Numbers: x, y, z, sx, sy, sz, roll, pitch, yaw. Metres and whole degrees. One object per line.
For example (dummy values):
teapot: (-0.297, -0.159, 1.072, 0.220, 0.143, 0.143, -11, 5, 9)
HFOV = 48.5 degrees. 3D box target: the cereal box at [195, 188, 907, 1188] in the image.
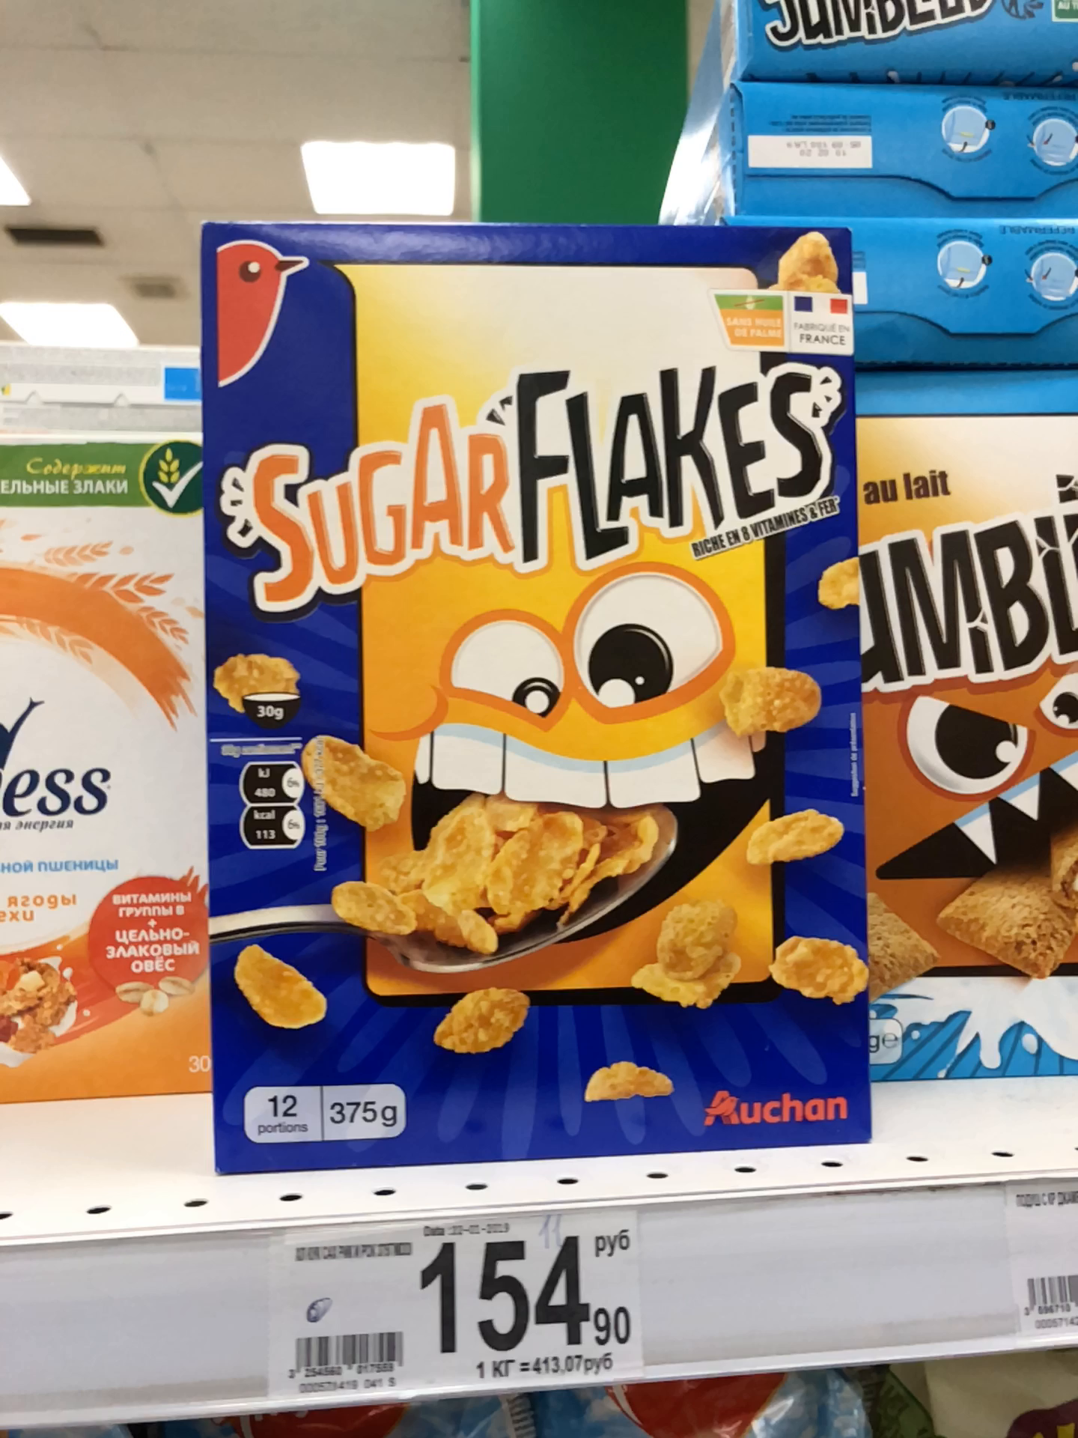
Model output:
cereal box: (0.001, -0.012, 0.378, 0.200, 0.280, 0.070, -1, -2, -5)
